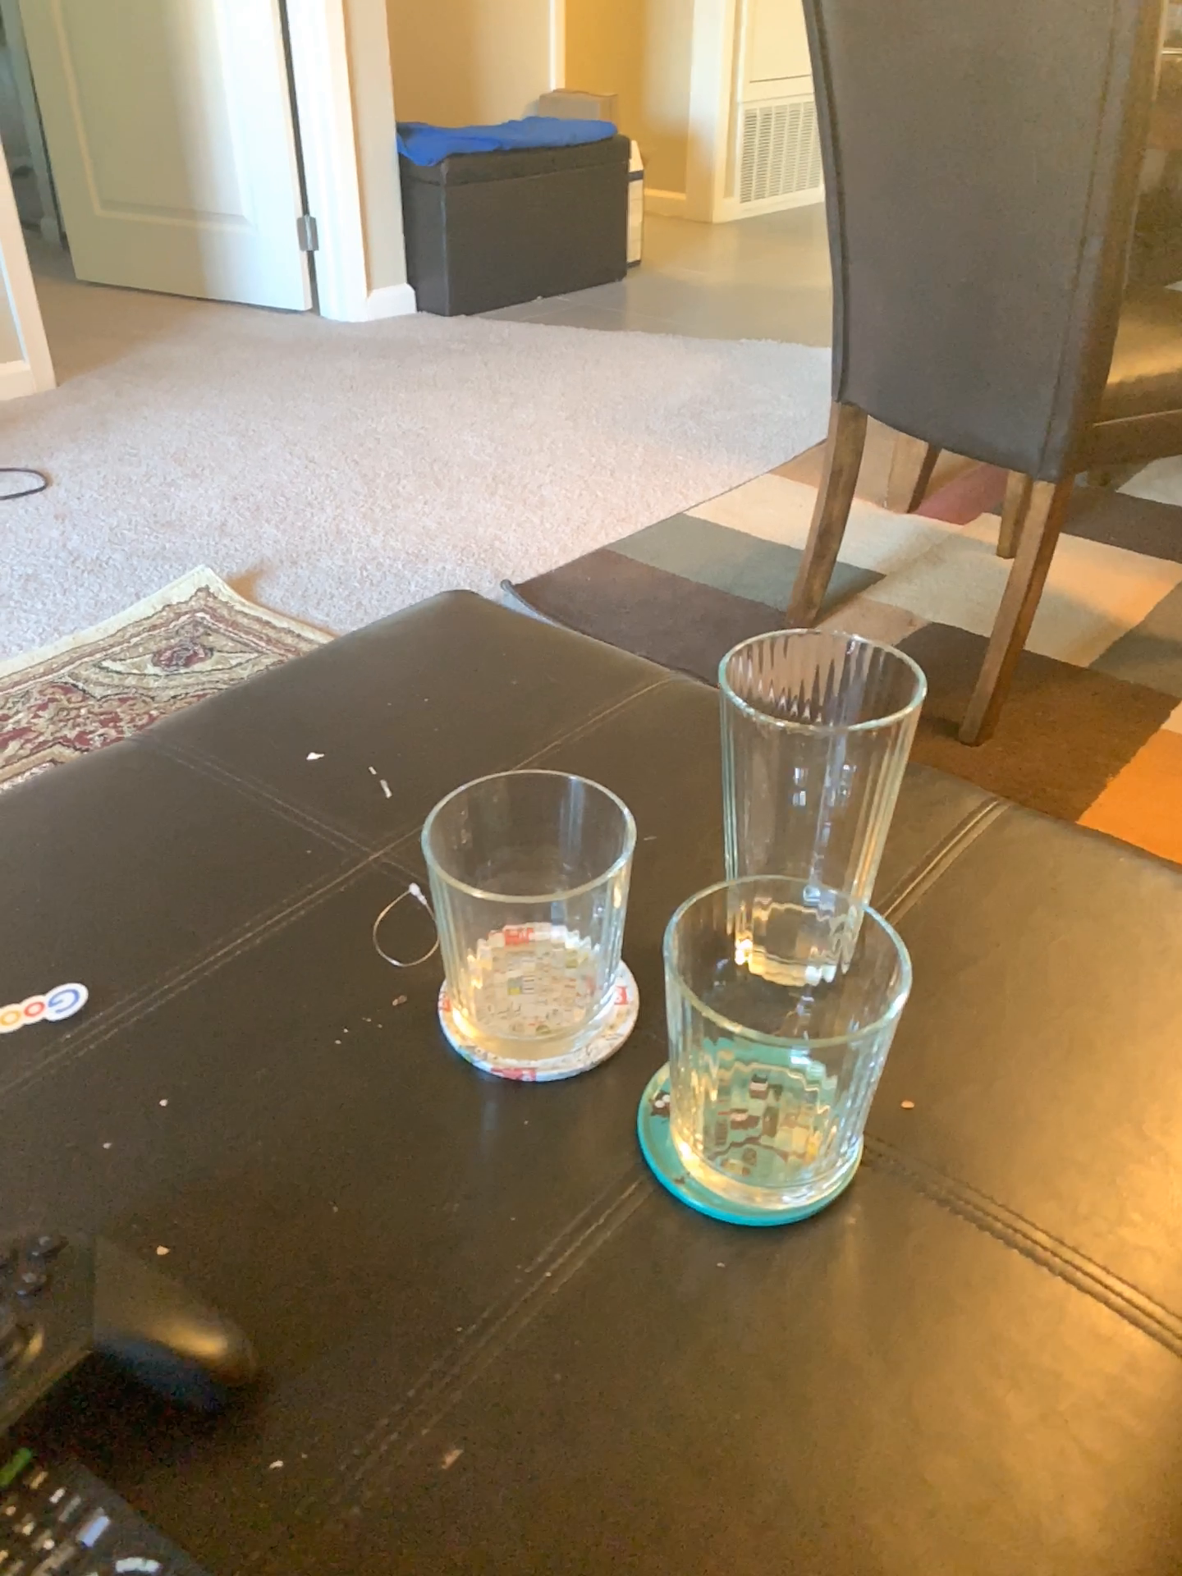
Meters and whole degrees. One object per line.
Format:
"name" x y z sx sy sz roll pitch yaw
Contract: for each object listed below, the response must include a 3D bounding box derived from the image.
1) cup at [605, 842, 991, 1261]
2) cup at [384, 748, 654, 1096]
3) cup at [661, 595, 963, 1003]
"cup" 0.071 0.094 0.450 0.100 0.089 0.091 -15 37 -21
"cup" -0.033 0.058 0.543 0.090 0.109 0.080 -15 37 -21
"cup" 0.091 0.003 0.536 0.080 0.139 0.091 -15 37 -21
